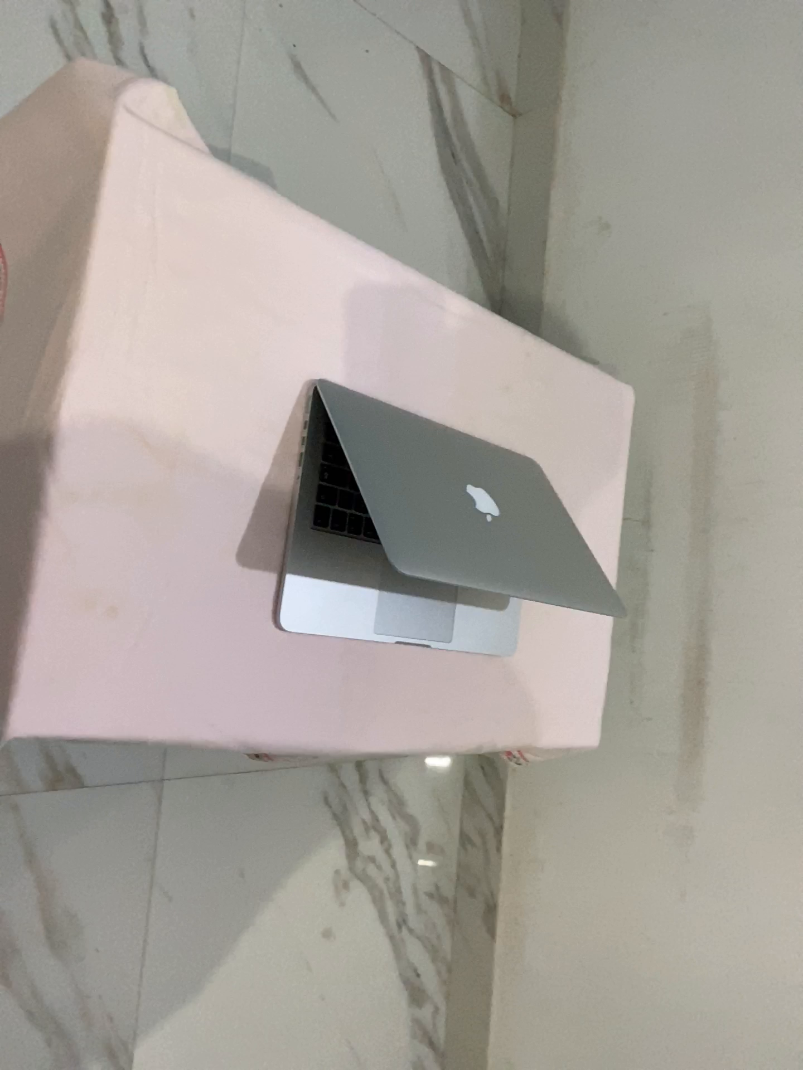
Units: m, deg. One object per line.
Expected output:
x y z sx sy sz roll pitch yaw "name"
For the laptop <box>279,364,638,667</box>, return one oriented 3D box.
0.066 0.000 0.744 0.298 0.138 0.208 13 82 -43 "laptop"
